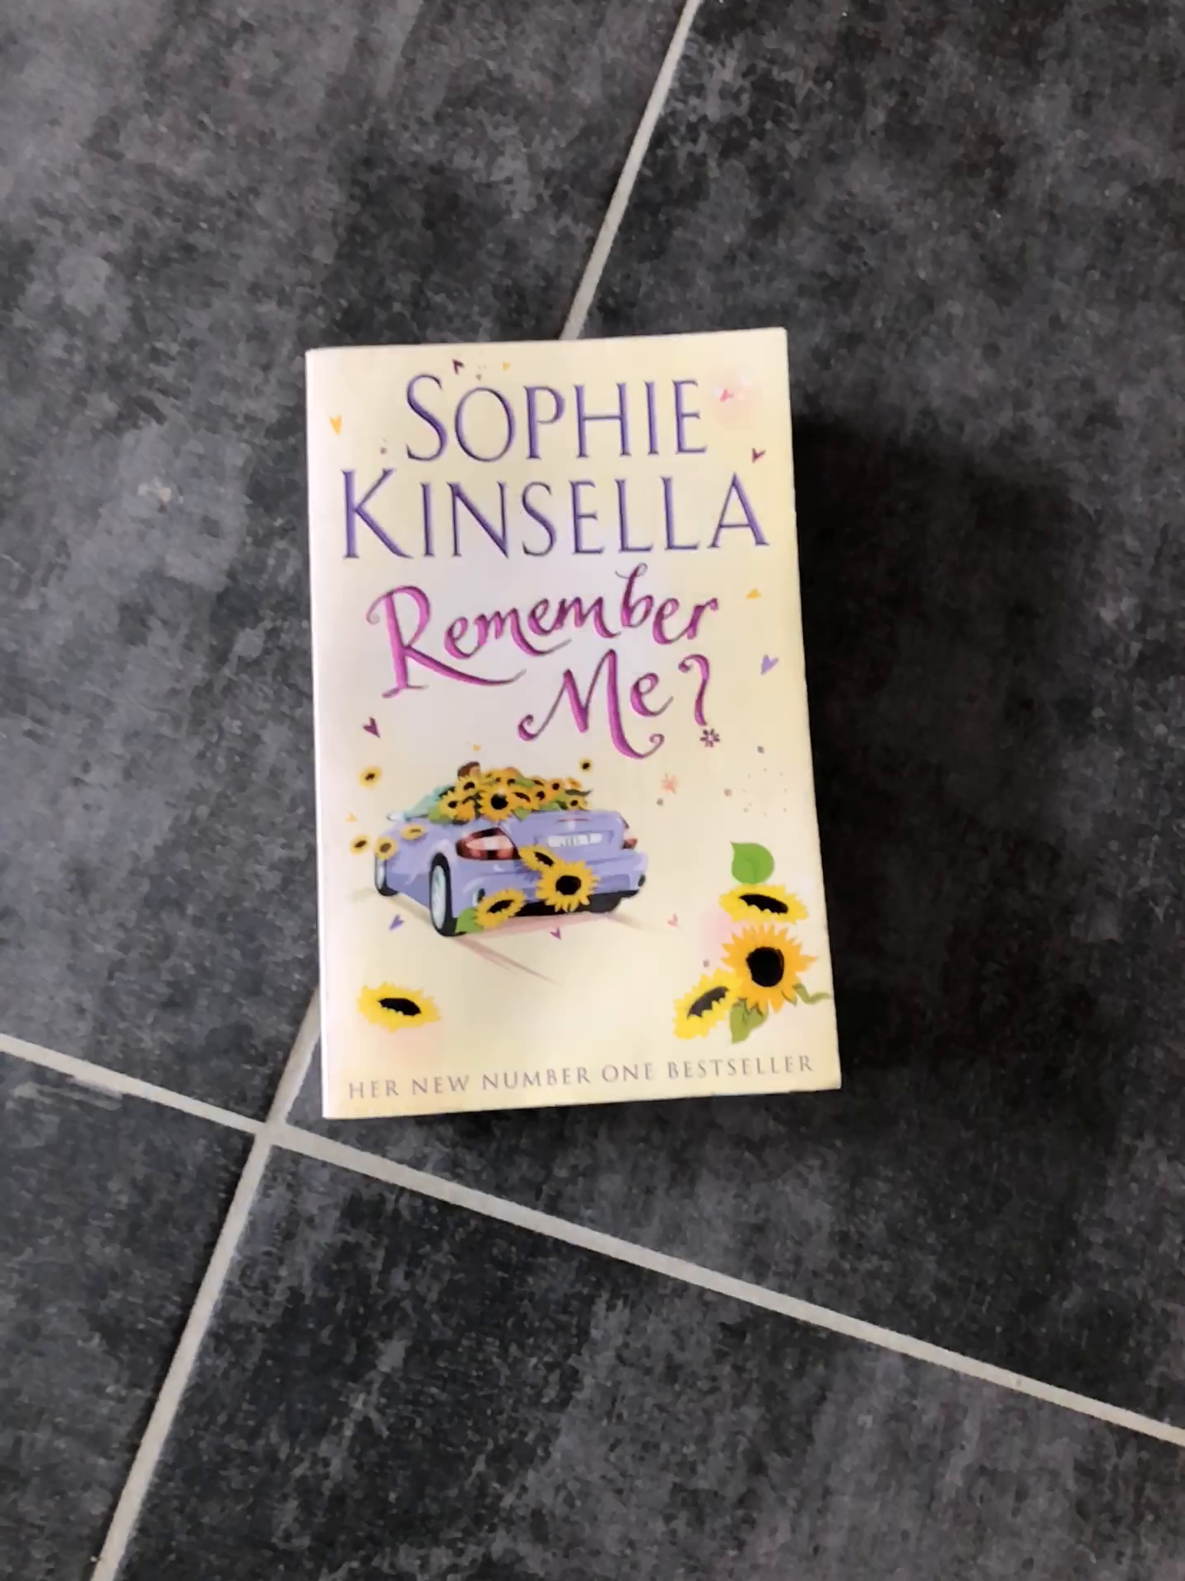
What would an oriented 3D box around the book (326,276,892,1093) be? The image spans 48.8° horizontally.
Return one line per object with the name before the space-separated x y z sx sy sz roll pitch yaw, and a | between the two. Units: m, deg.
book | 0.001 -0.028 0.341 0.130 0.040 0.200 -2 82 -1
